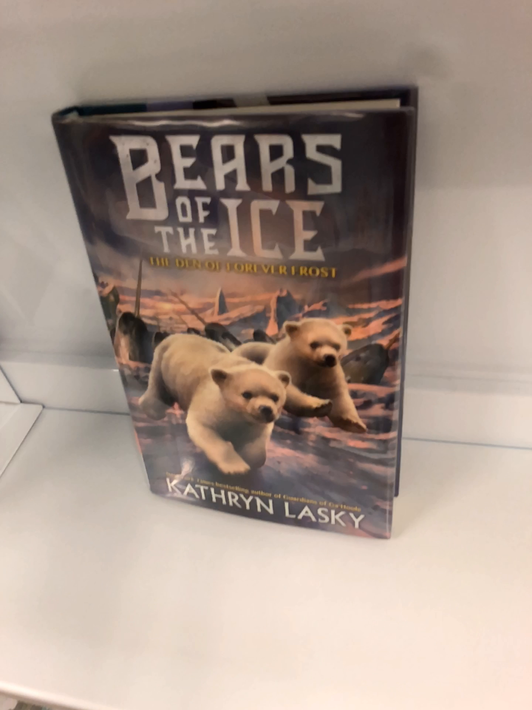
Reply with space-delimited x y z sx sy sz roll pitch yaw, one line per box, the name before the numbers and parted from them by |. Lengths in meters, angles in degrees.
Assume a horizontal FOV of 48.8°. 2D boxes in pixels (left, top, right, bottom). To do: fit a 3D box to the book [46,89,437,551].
book | -0.002 -0.007 0.289 0.150 0.216 0.043 6 34 18
